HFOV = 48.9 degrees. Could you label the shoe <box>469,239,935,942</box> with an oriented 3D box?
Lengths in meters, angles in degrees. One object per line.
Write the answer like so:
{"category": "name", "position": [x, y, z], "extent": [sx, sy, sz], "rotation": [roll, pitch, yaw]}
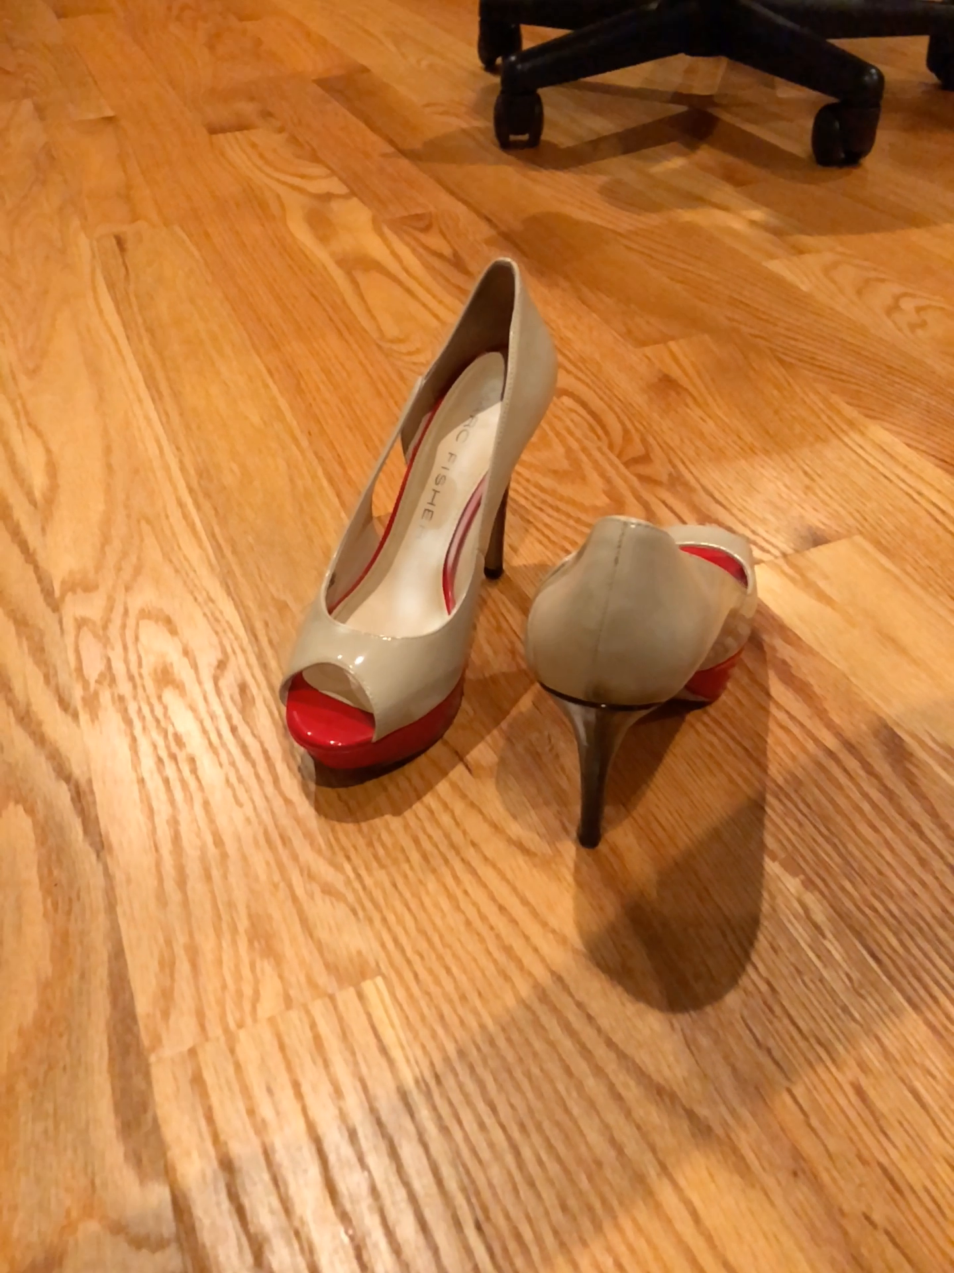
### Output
{"category": "shoe", "position": [0.085, -0.031, 0.368], "extent": [0.085, 0.129, 0.216], "rotation": [16, 45, 20]}

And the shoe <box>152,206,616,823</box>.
{"category": "shoe", "position": [-0.018, -0.063, 0.439], "extent": [0.080, 0.149, 0.221], "rotation": [14, 44, 19]}
